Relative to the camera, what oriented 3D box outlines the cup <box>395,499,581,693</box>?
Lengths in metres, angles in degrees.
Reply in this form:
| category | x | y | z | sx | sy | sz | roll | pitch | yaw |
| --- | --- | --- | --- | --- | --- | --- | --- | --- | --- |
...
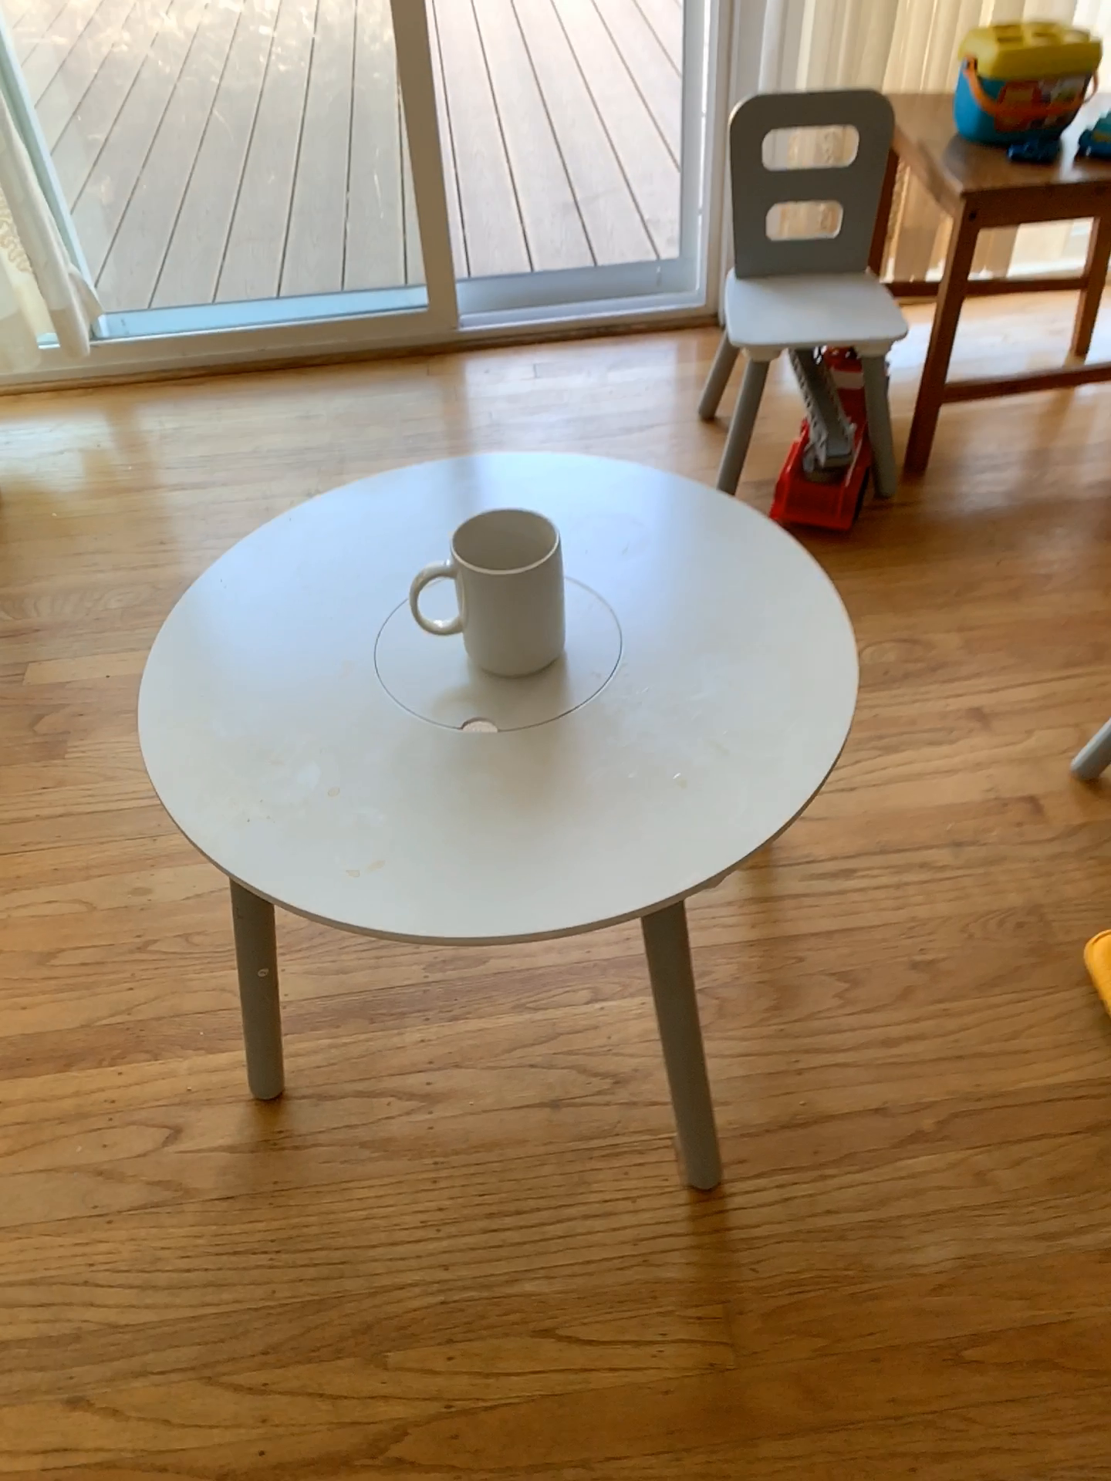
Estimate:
| category | x | y | z | sx | sy | sz | roll | pitch | yaw |
| --- | --- | --- | --- | --- | --- | --- | --- | --- | --- |
| cup | -0.054 | -0.117 | 0.912 | 0.130 | 0.090 | 0.111 | -8 | 46 | -5 |
